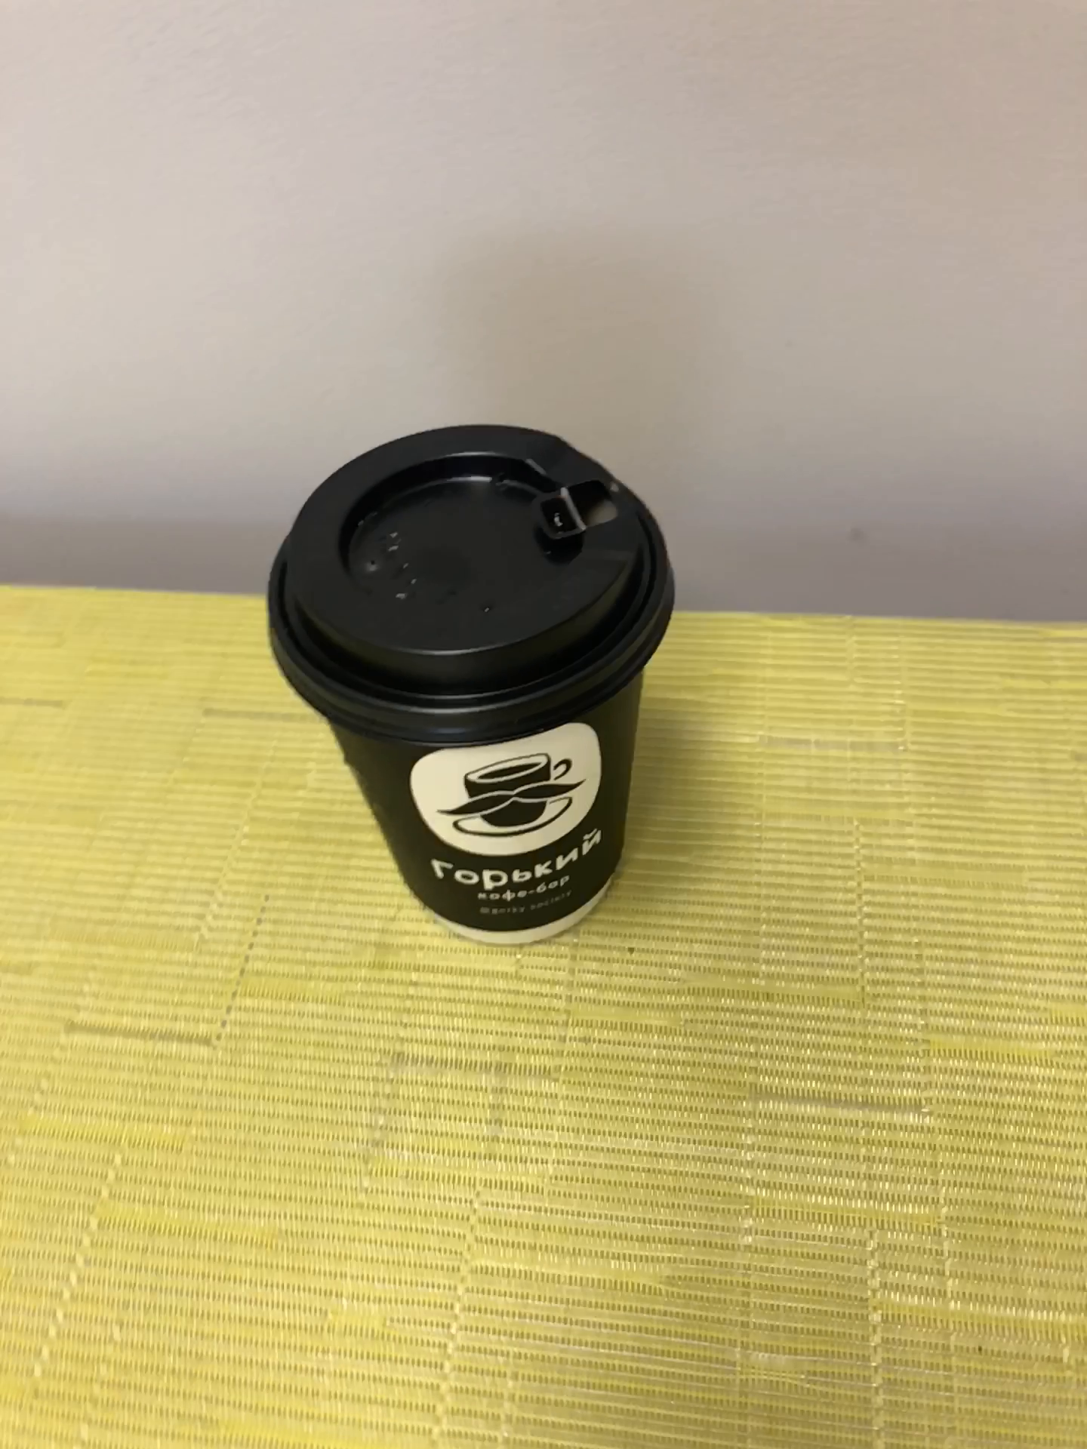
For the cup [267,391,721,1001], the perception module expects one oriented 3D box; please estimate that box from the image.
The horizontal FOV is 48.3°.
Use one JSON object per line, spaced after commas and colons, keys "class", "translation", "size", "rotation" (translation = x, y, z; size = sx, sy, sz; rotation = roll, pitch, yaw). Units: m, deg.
{"class": "cup", "translation": [-0.012, -0.004, 0.318], "size": [0.092, 0.120, 0.090], "rotation": [-3, 48, 3]}
